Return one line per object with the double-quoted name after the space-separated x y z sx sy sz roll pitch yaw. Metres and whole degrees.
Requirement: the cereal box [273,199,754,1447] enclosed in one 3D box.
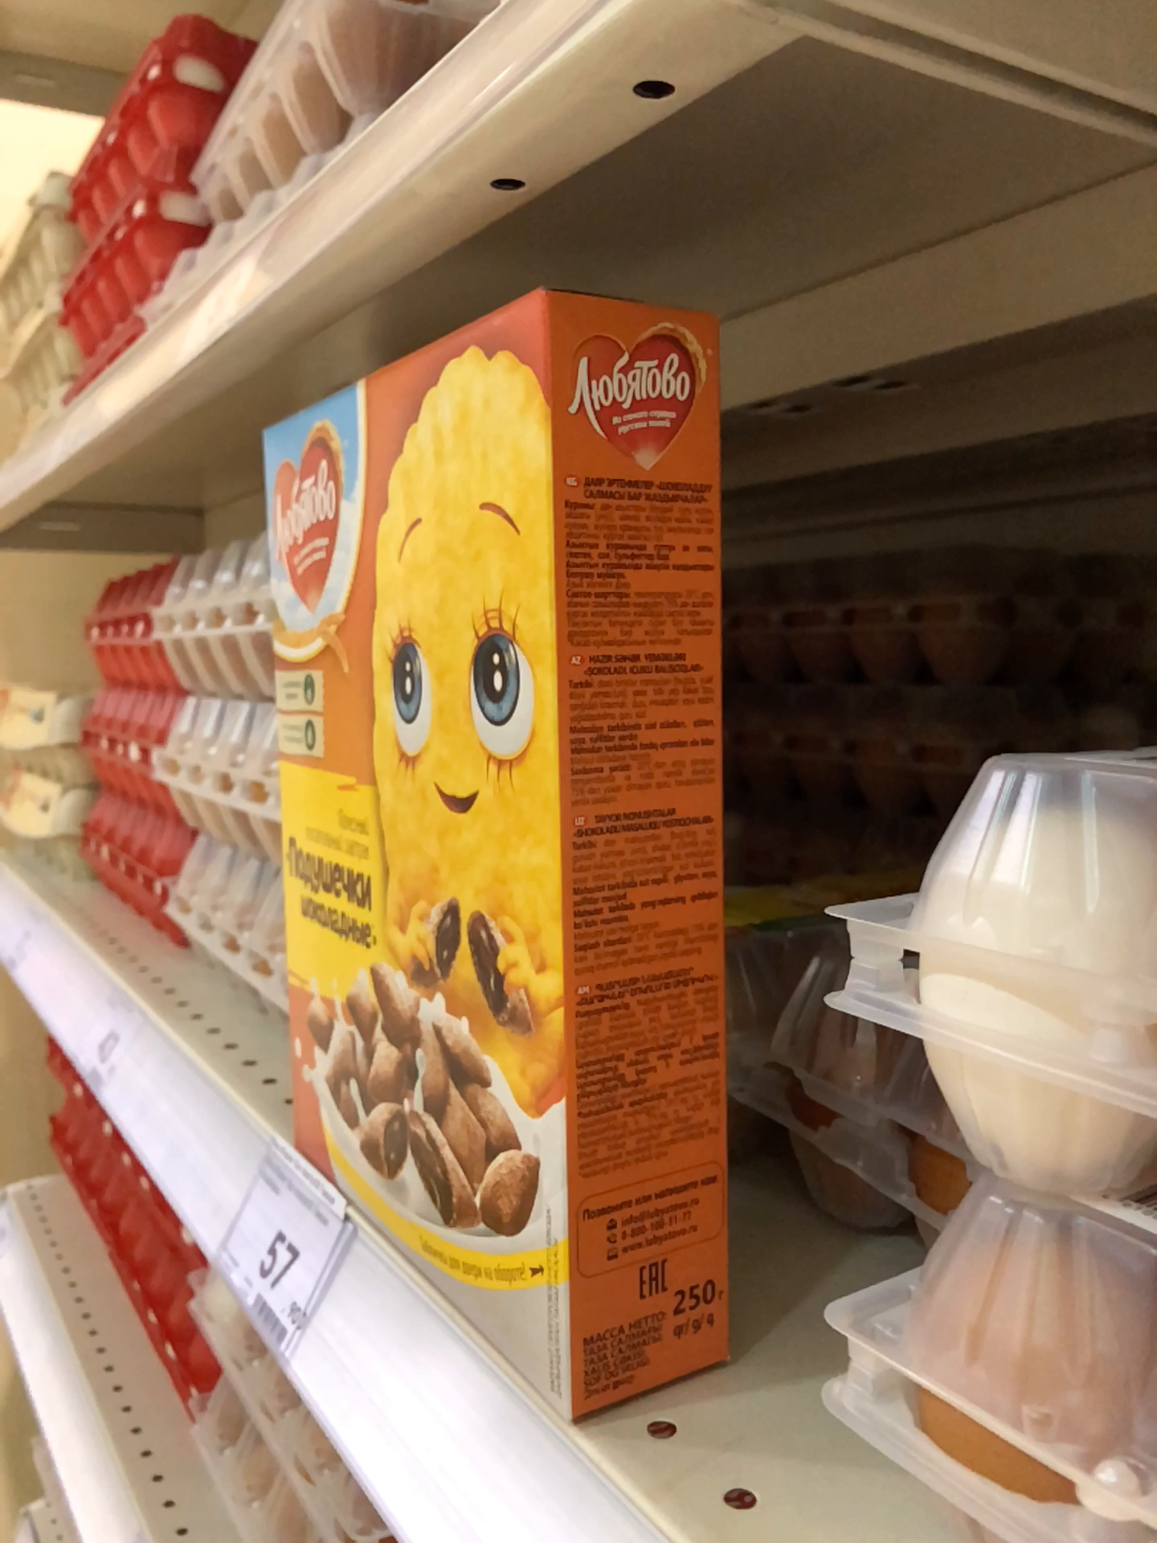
-0.028 0.006 0.332 0.040 0.240 0.180 -4 6 -31 "cereal box"
